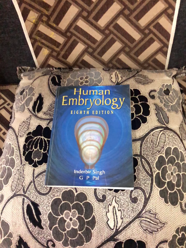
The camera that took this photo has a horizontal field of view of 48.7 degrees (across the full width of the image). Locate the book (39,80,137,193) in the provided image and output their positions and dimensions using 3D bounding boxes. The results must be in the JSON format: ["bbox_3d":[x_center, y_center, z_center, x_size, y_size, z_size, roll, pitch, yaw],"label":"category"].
[{"bbox_3d":[-0.006,0.017,0.488,0.200,0.030,0.270,1,66,4],"label":"book"}]
